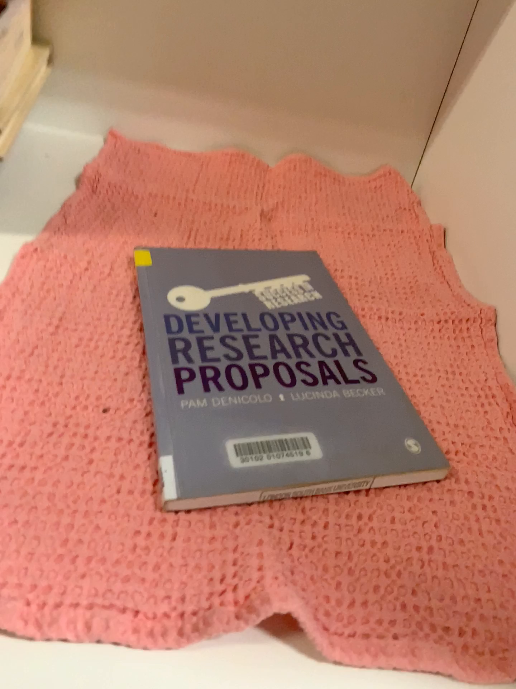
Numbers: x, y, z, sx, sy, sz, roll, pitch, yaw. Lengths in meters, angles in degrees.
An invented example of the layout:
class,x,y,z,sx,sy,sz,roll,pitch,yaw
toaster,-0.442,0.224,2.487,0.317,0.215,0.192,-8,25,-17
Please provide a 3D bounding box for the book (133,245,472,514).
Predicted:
class,x,y,z,sx,sy,sz,roll,pitch,yaw
book,0.009,-0.001,0.355,0.165,0.015,0.232,-2,39,-17
